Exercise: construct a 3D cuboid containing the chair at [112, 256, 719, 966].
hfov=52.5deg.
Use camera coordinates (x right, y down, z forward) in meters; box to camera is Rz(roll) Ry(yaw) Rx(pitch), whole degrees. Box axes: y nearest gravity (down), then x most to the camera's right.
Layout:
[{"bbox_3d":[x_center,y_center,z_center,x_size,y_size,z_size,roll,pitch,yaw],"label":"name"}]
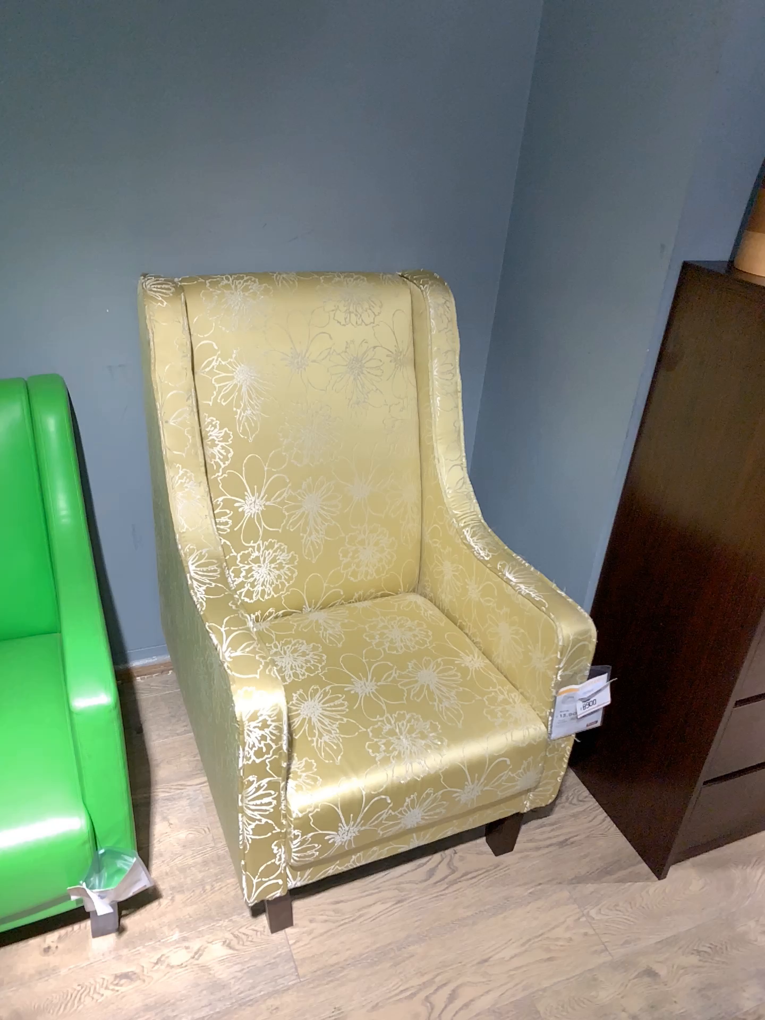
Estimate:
[{"bbox_3d":[-0.071,0.088,1.664,0.781,1.026,0.953,-8,31,-23],"label":"chair"}]
